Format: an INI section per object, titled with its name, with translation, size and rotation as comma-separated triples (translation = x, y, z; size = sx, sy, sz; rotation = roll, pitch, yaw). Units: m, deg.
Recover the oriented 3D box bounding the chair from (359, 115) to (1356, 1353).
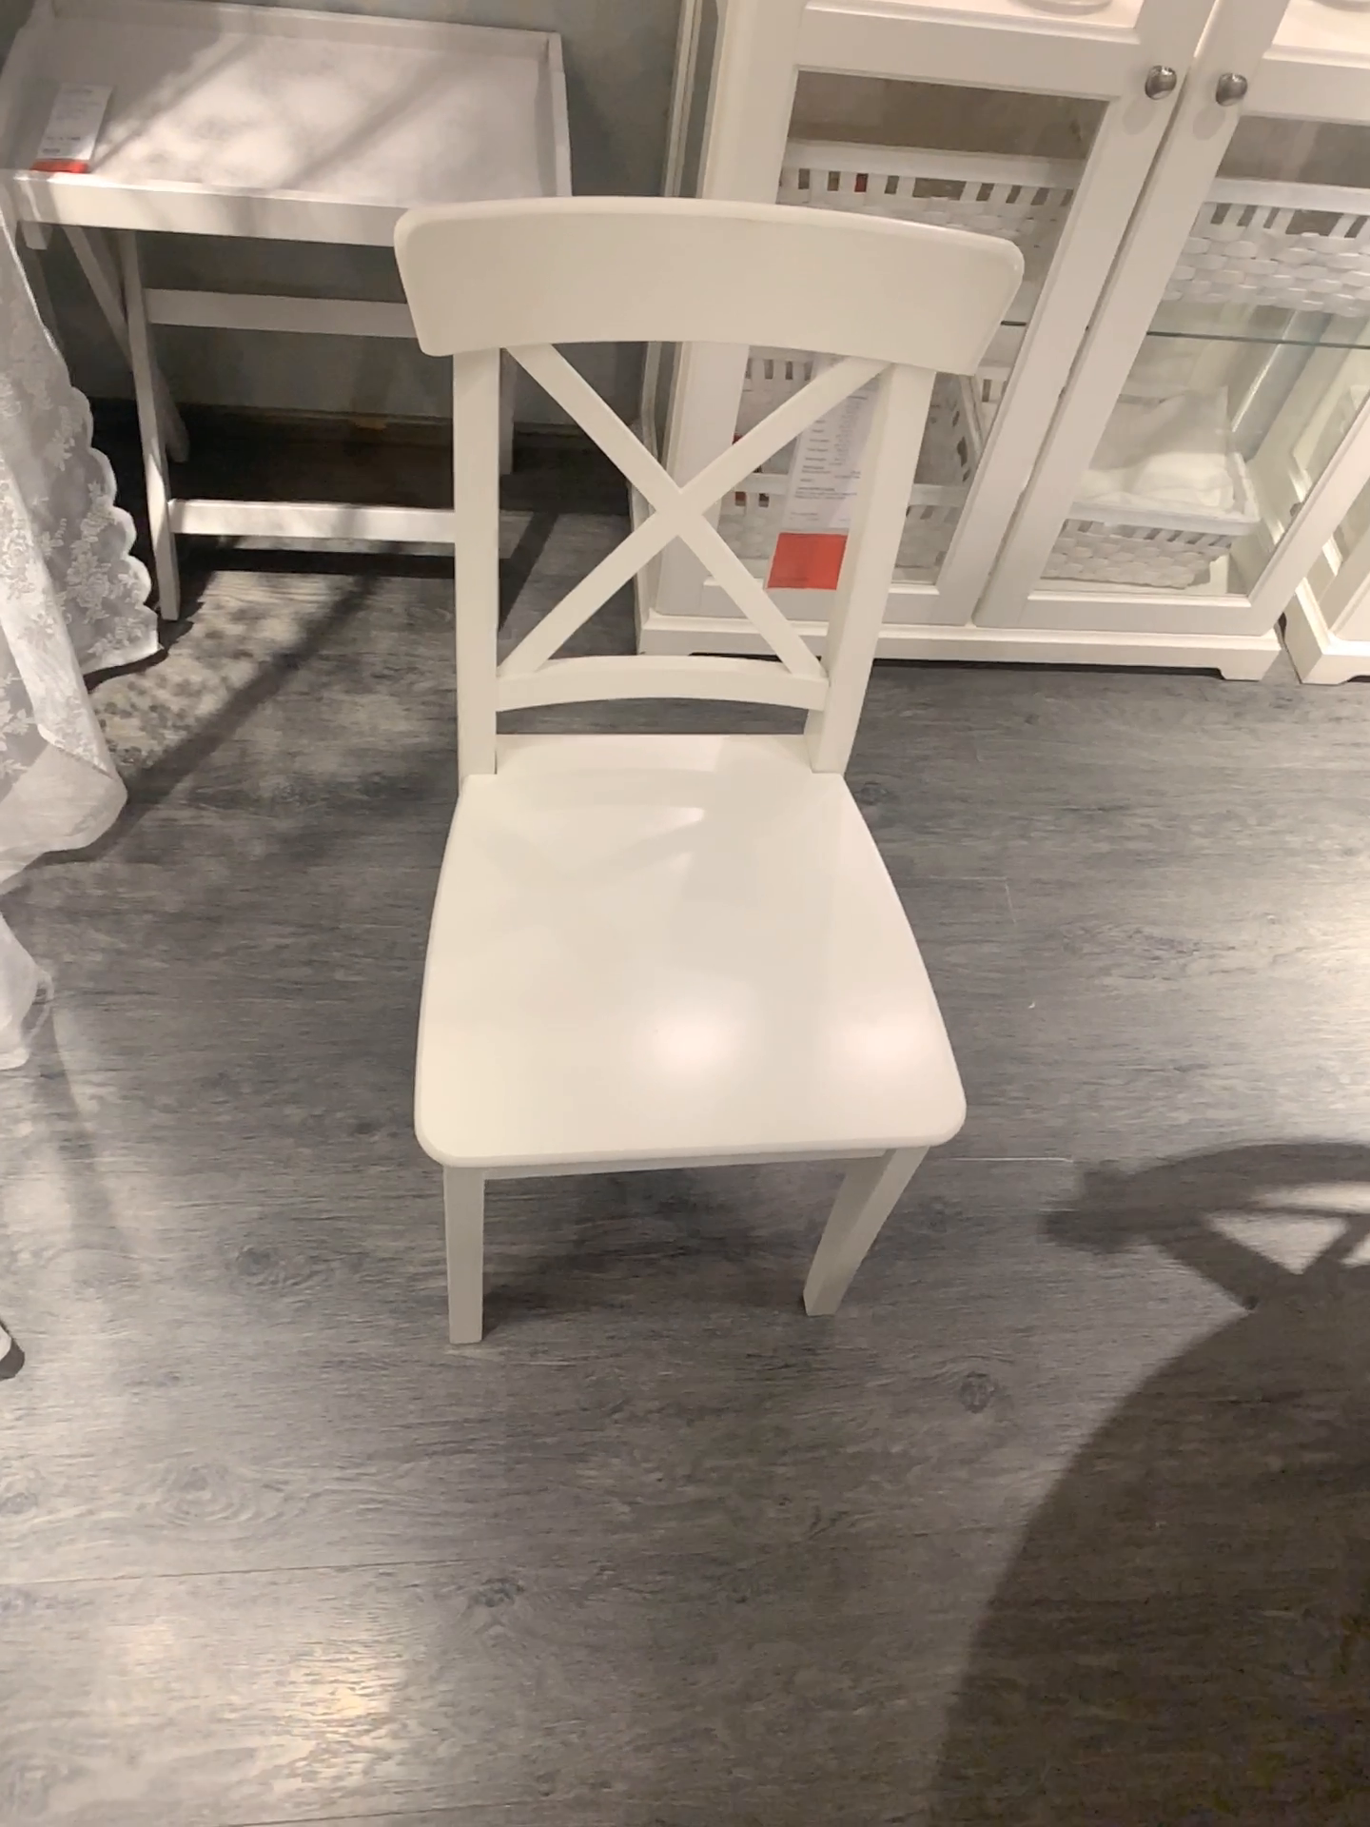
[chair]
translation = 0.016, -0.040, 1.087
size = 0.440, 0.858, 0.491
rotation = -1, 57, -8
